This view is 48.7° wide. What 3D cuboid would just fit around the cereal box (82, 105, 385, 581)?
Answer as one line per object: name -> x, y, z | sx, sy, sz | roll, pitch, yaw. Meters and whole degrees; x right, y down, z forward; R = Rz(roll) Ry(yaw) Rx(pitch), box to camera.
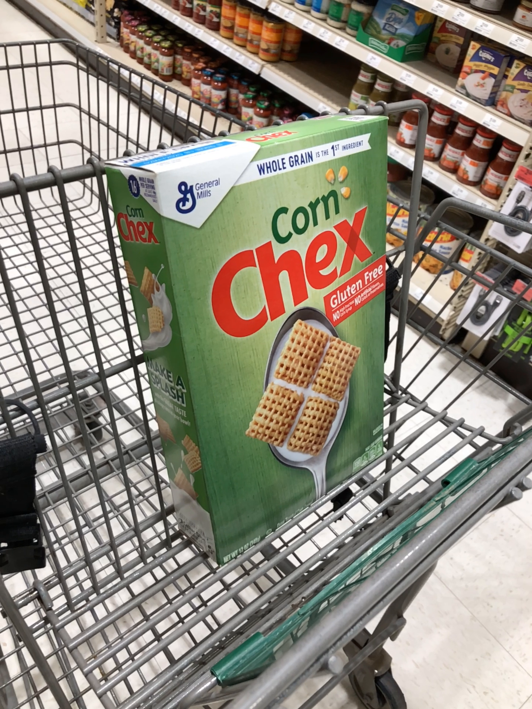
cereal box -> 0.002, -0.011, 0.449 | 0.200, 0.310, 0.060 | -25, 33, -33
